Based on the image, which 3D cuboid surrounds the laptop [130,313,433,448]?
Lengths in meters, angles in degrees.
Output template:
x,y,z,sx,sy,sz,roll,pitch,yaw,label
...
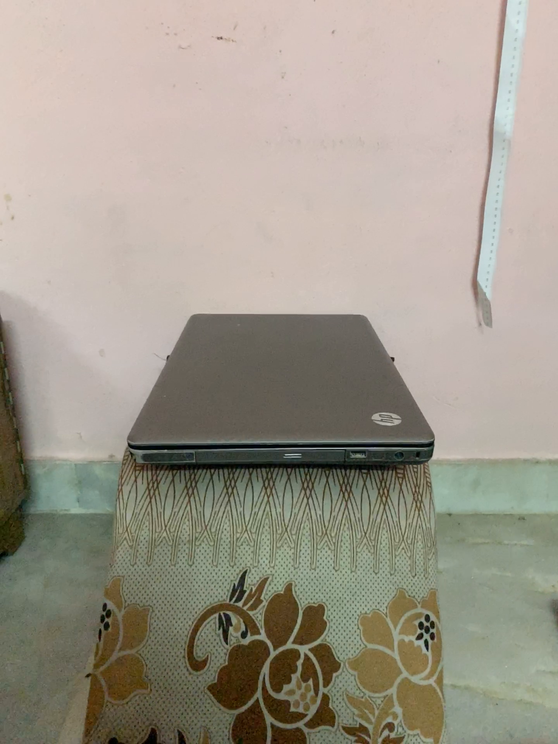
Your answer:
x,y,z,sx,sy,sz,roll,pitch,yaw,label
0.002,-0.011,0.645,0.249,0.002,0.381,0,22,0,laptop
